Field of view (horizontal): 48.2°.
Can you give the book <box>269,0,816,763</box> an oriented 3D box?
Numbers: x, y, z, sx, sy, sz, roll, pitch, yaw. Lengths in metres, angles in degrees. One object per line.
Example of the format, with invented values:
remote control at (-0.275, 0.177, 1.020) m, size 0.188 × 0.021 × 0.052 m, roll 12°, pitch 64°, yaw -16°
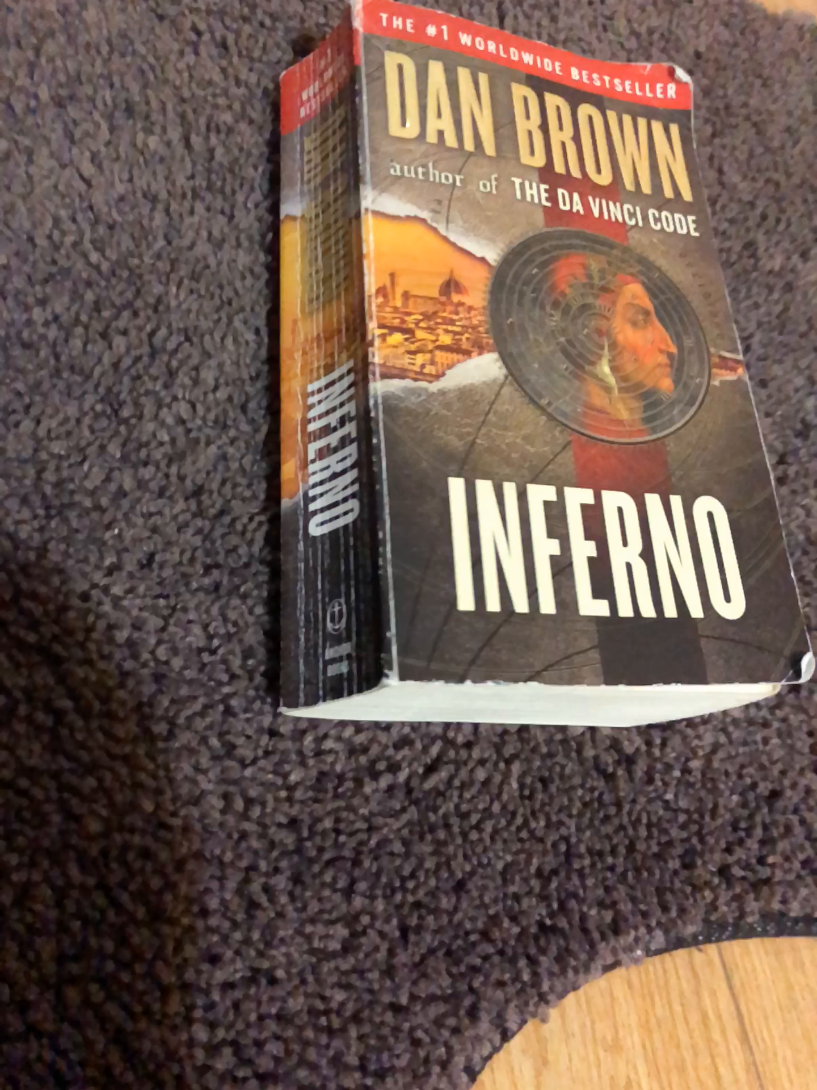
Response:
book at (0.028, -0.048, 0.245) m, size 0.120 × 0.050 × 0.200 m, roll 5°, pitch 69°, yaw -23°
